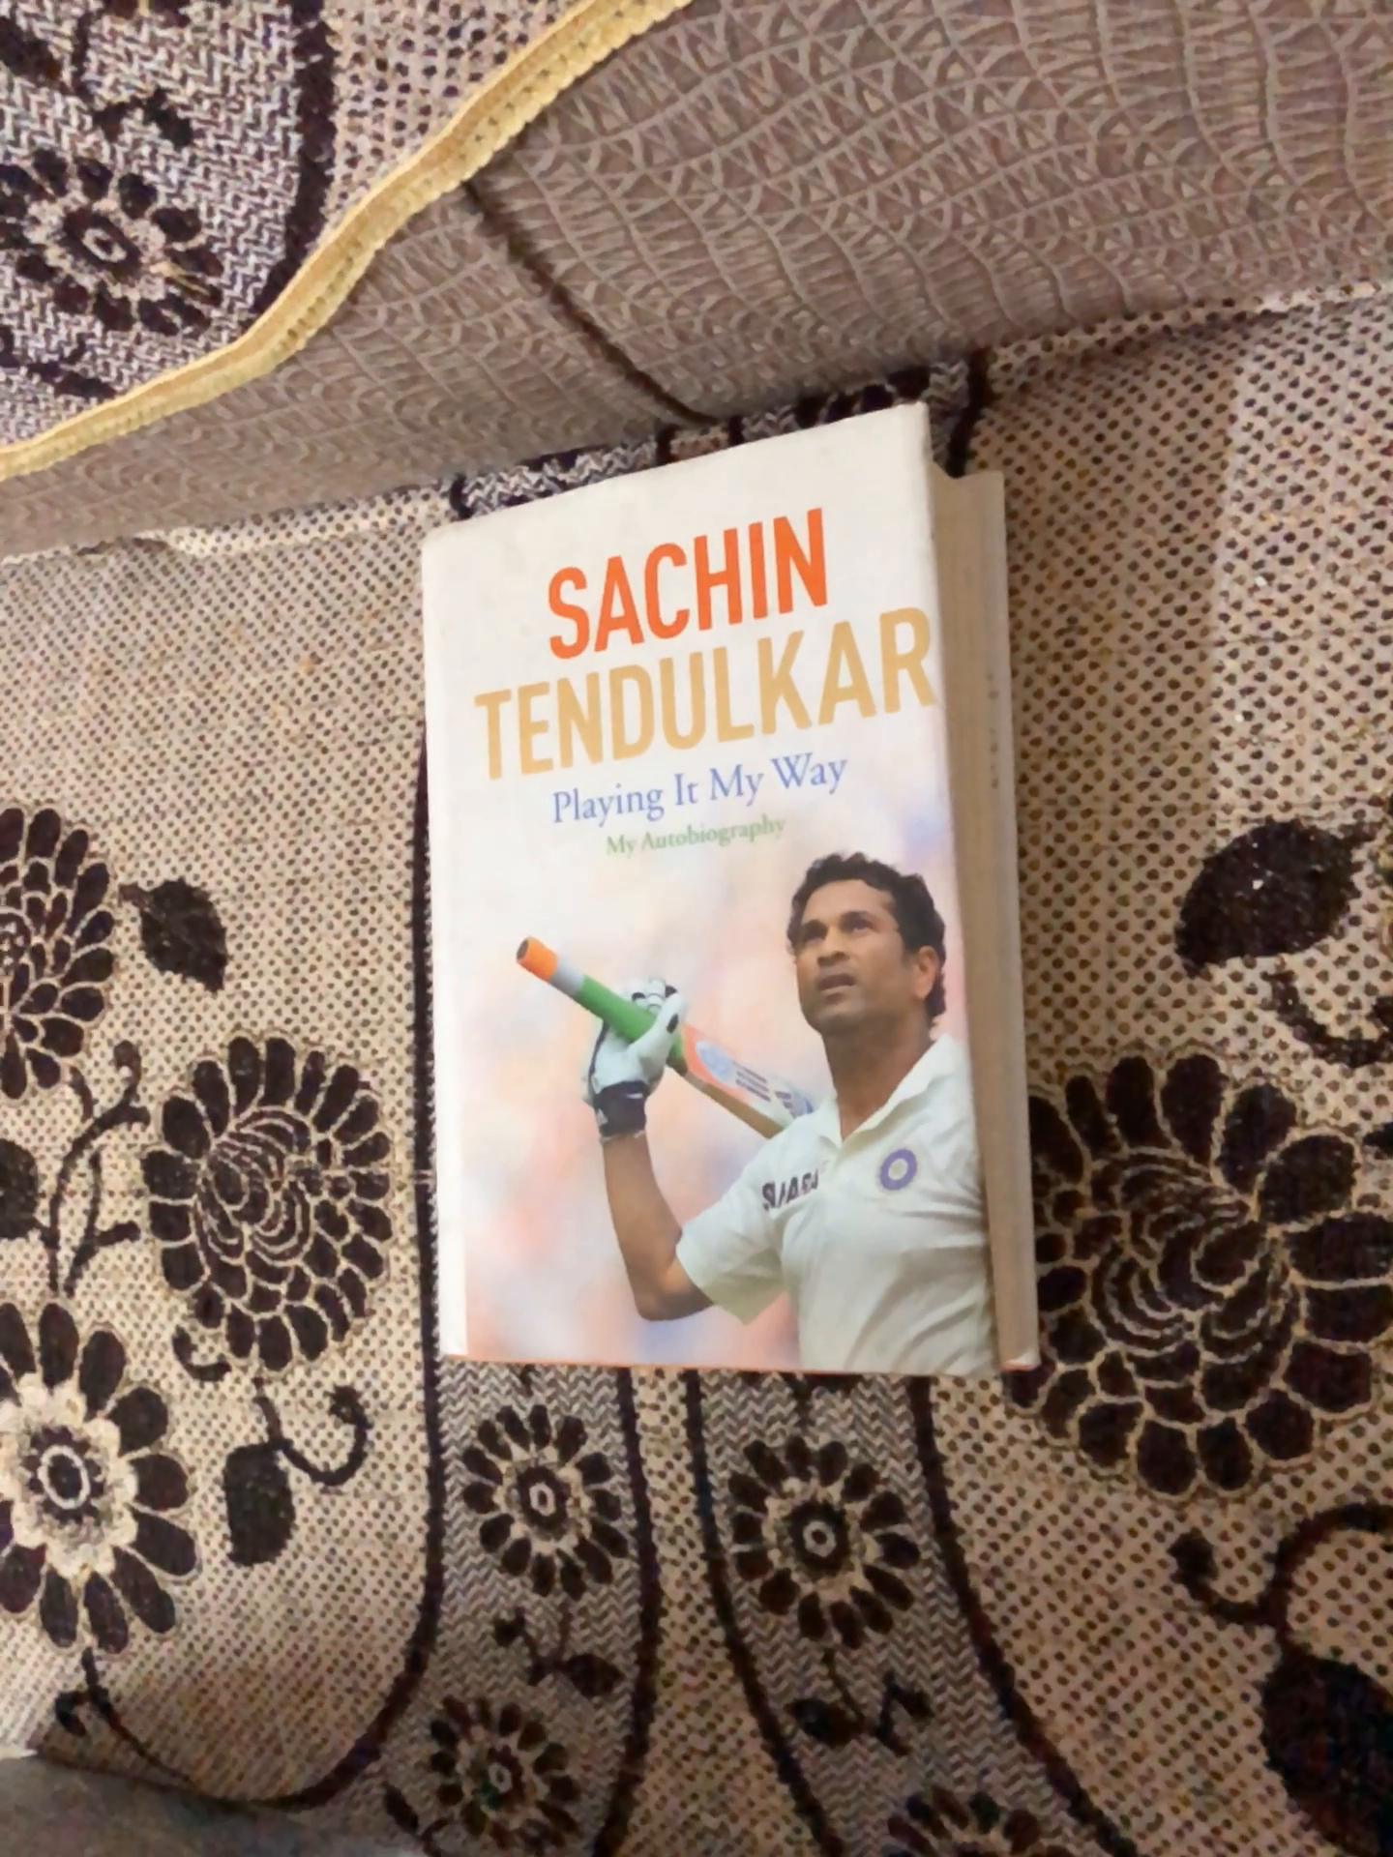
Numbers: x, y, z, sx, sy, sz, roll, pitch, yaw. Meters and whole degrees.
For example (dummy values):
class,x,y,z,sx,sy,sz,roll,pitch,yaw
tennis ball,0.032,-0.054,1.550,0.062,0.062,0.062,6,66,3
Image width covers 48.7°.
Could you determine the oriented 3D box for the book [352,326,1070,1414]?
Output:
class,x,y,z,sx,sy,sz,roll,pitch,yaw
book,-0.001,-0.008,0.432,0.180,0.070,0.260,-5,81,25
